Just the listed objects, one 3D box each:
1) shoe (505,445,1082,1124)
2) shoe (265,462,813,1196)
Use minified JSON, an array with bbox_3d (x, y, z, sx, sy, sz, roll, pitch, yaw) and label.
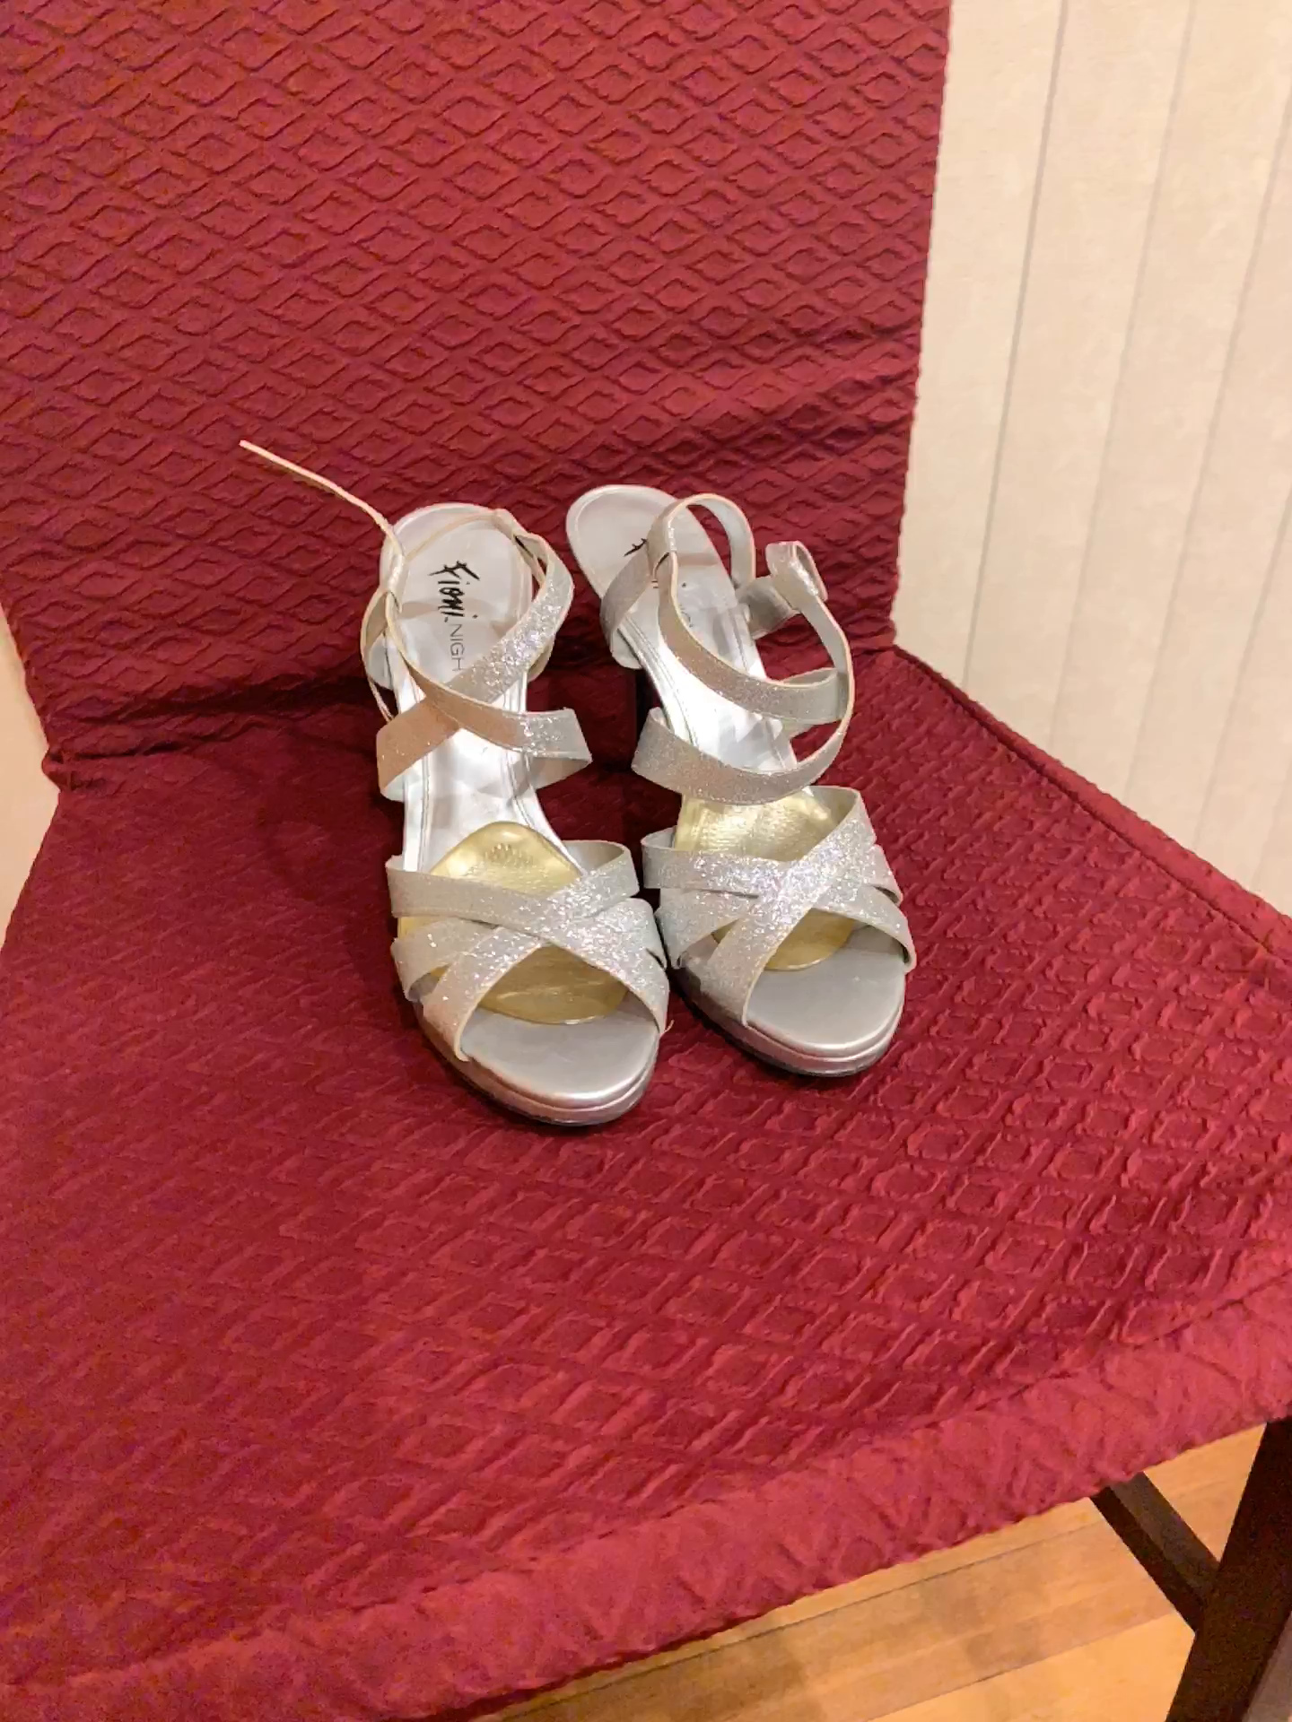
[{"bbox_3d":[0.032,-0.042,0.454,0.100,0.119,0.221,-12,38,-15],"label":"shoe"},{"bbox_3d":[-0.047,-0.029,0.438,0.100,0.119,0.231,-14,38,-17],"label":"shoe"}]
